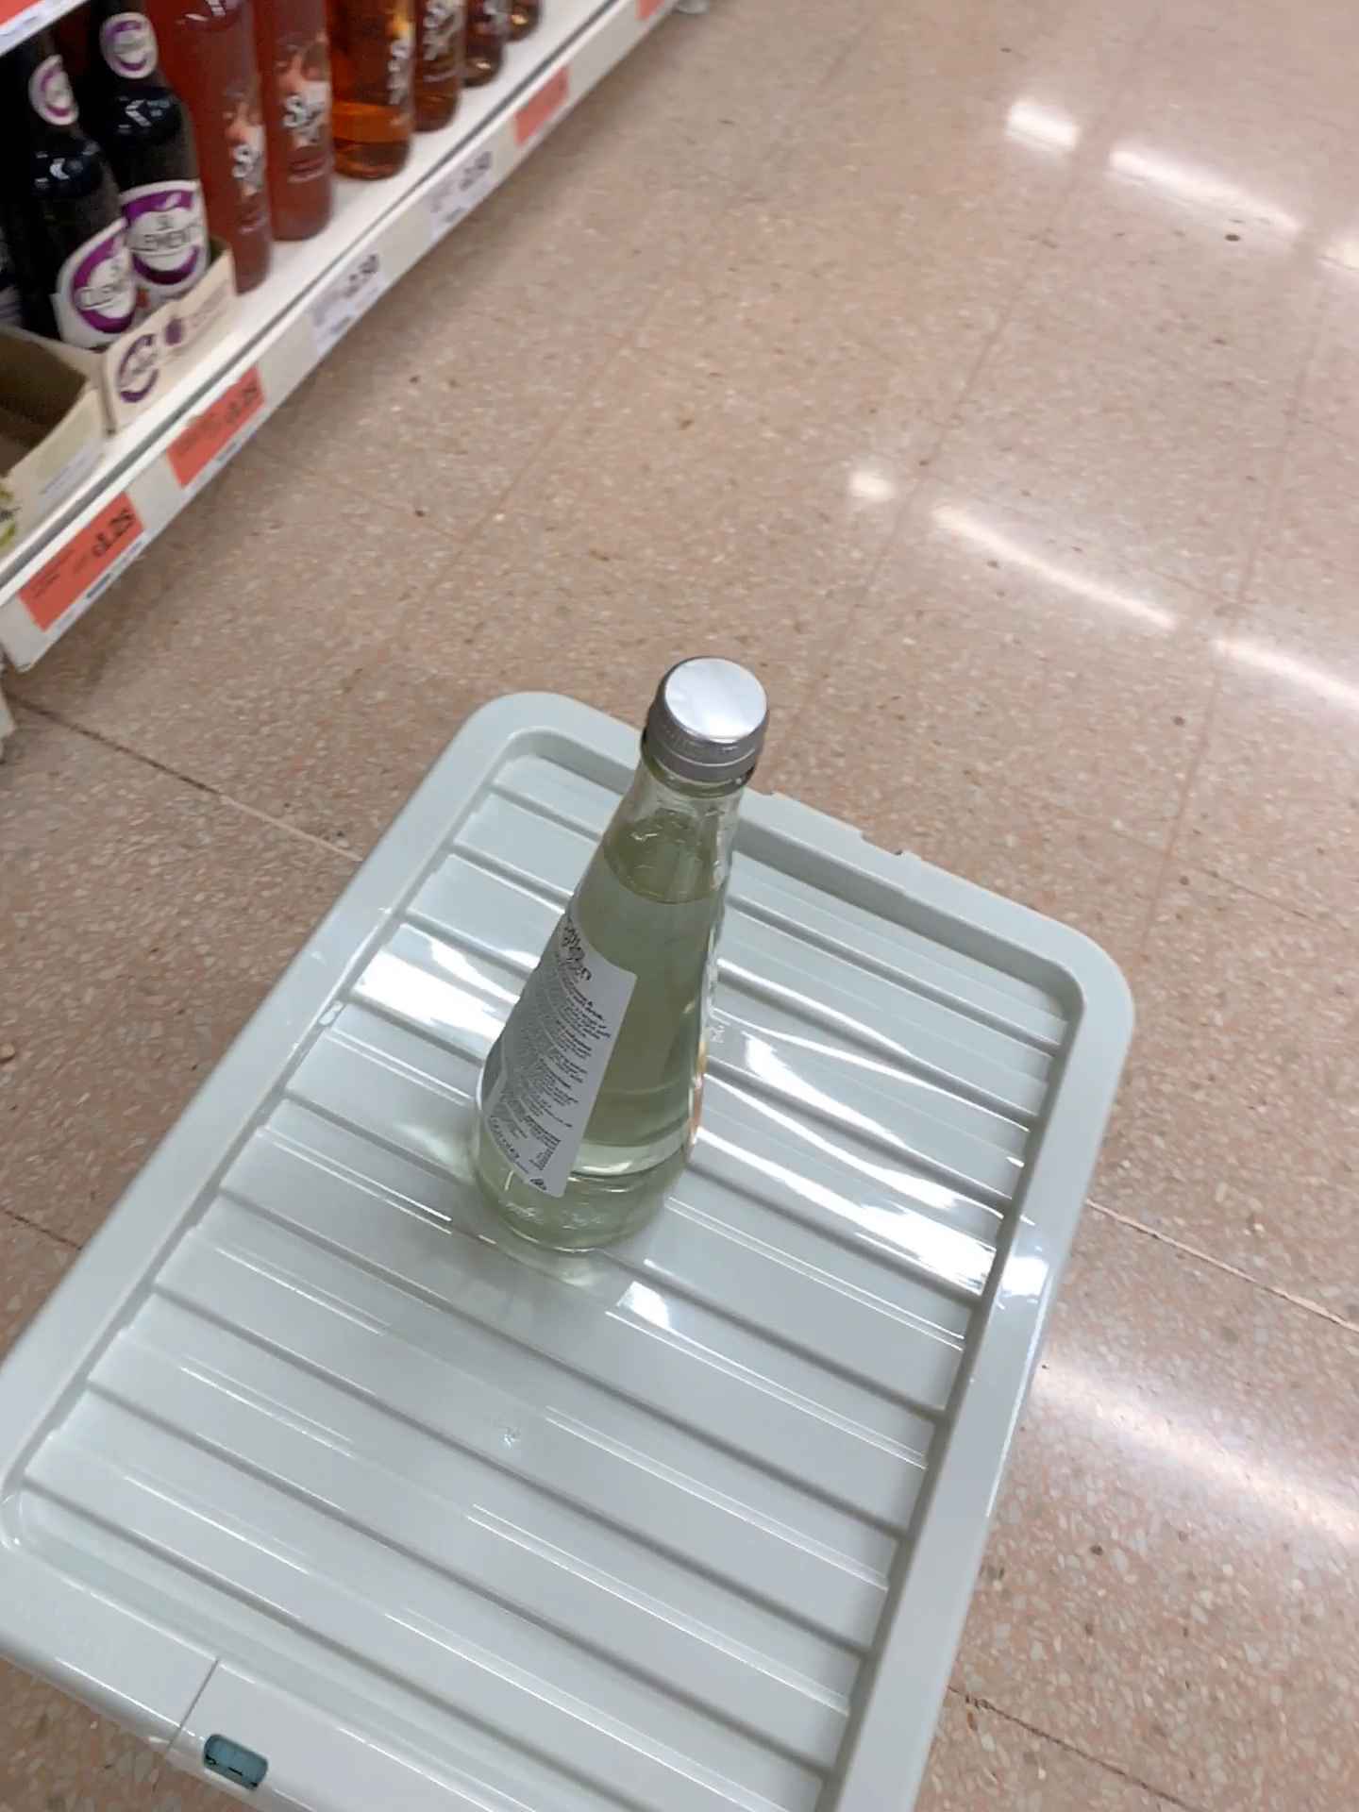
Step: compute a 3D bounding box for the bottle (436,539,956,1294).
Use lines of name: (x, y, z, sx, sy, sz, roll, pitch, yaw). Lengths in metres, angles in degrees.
bottle: (-0.018, 0.027, 0.452, 0.090, 0.288, 0.090, 5, 58, -8)
